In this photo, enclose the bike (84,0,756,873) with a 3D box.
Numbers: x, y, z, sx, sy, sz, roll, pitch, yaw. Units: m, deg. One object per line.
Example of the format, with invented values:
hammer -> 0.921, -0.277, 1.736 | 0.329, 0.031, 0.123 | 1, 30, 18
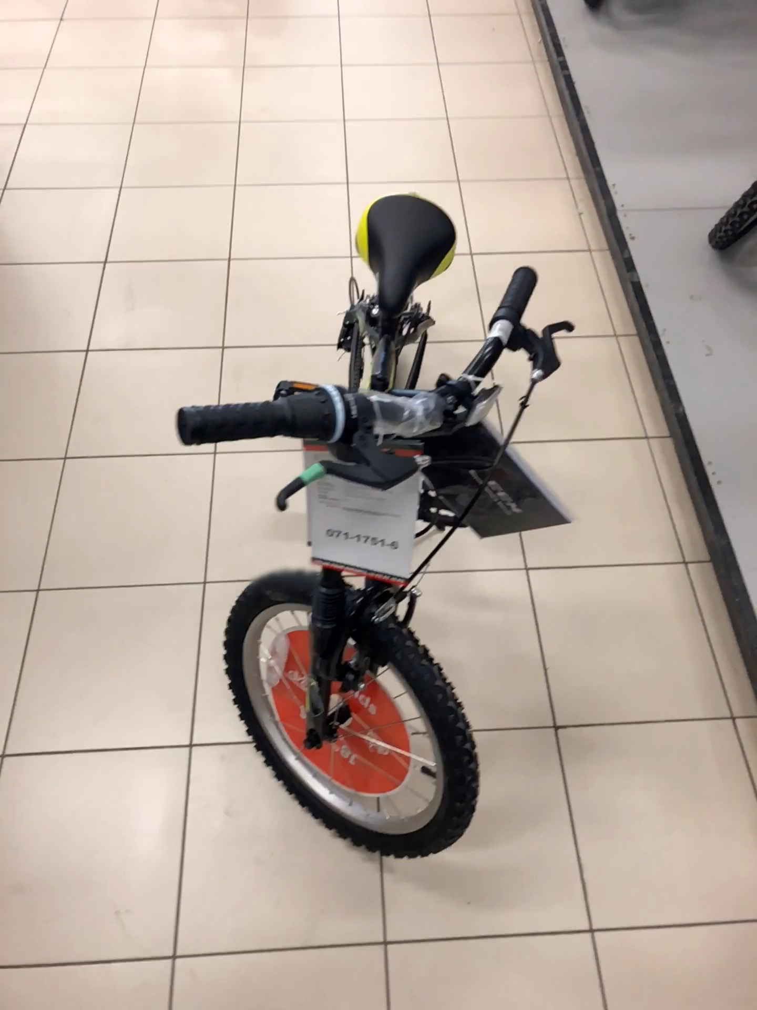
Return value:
bike -> 0.062, -0.178, 1.235 | 0.549, 0.861, 1.200 | -1, 55, -2
